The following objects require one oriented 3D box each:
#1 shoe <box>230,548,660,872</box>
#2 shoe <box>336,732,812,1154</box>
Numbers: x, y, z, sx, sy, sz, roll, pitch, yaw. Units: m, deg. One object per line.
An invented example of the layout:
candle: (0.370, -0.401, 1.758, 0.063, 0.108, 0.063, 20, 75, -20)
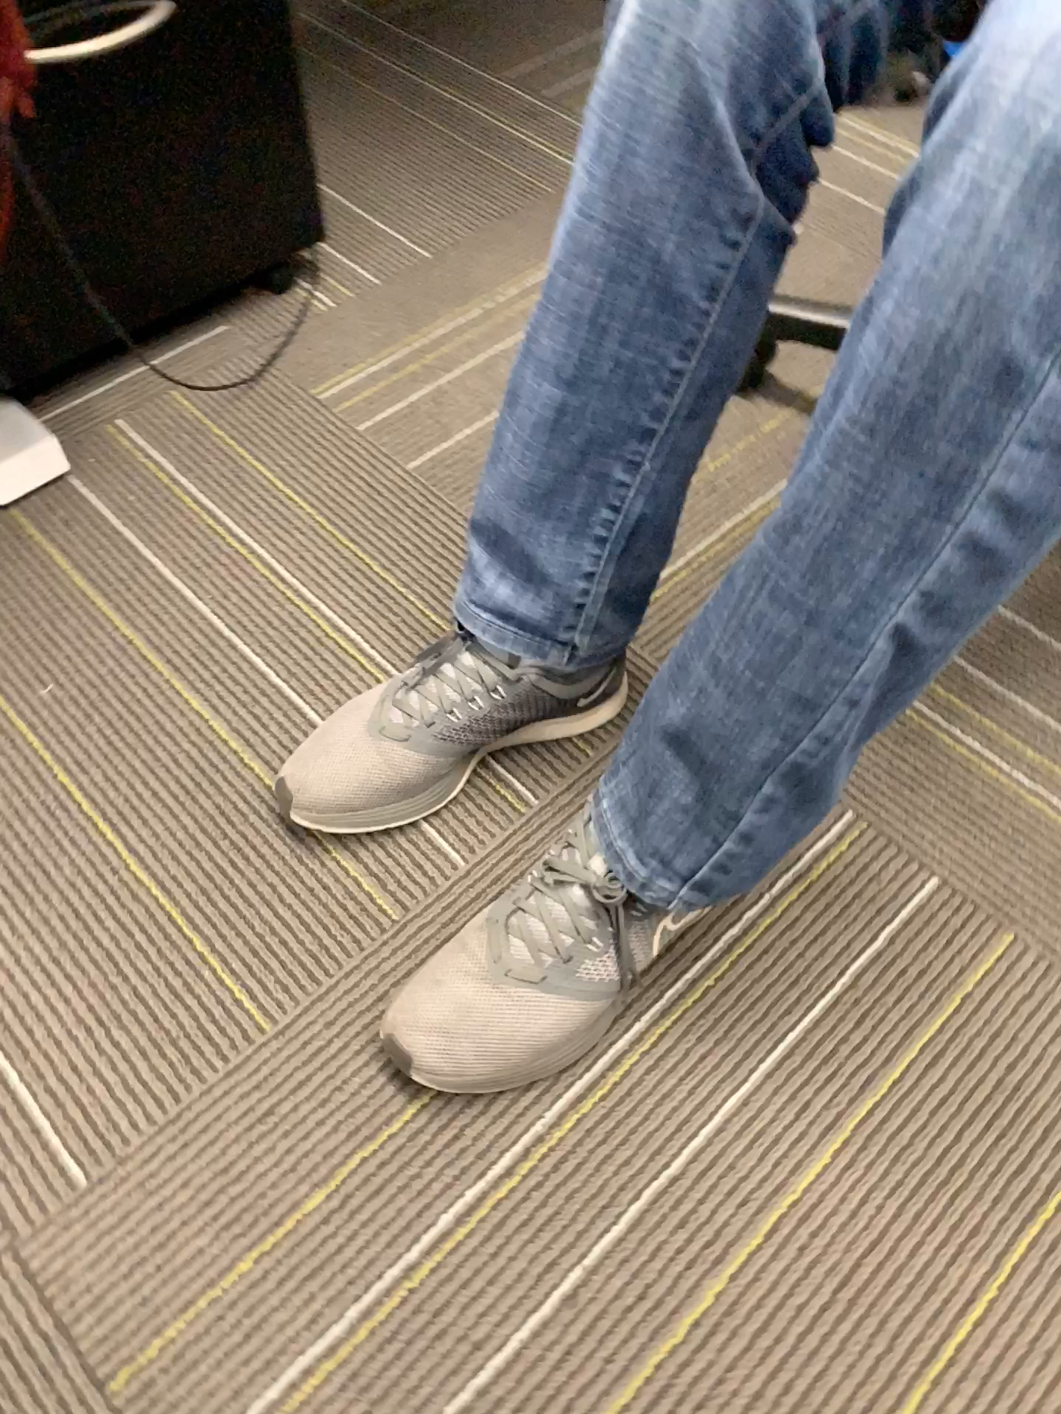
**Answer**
shoe: (-0.062, -0.004, 0.817, 0.284, 0.078, 0.133, -22, 57, -16)
shoe: (0.032, 0.148, 0.720, 0.286, 0.078, 0.124, -30, 60, -20)
